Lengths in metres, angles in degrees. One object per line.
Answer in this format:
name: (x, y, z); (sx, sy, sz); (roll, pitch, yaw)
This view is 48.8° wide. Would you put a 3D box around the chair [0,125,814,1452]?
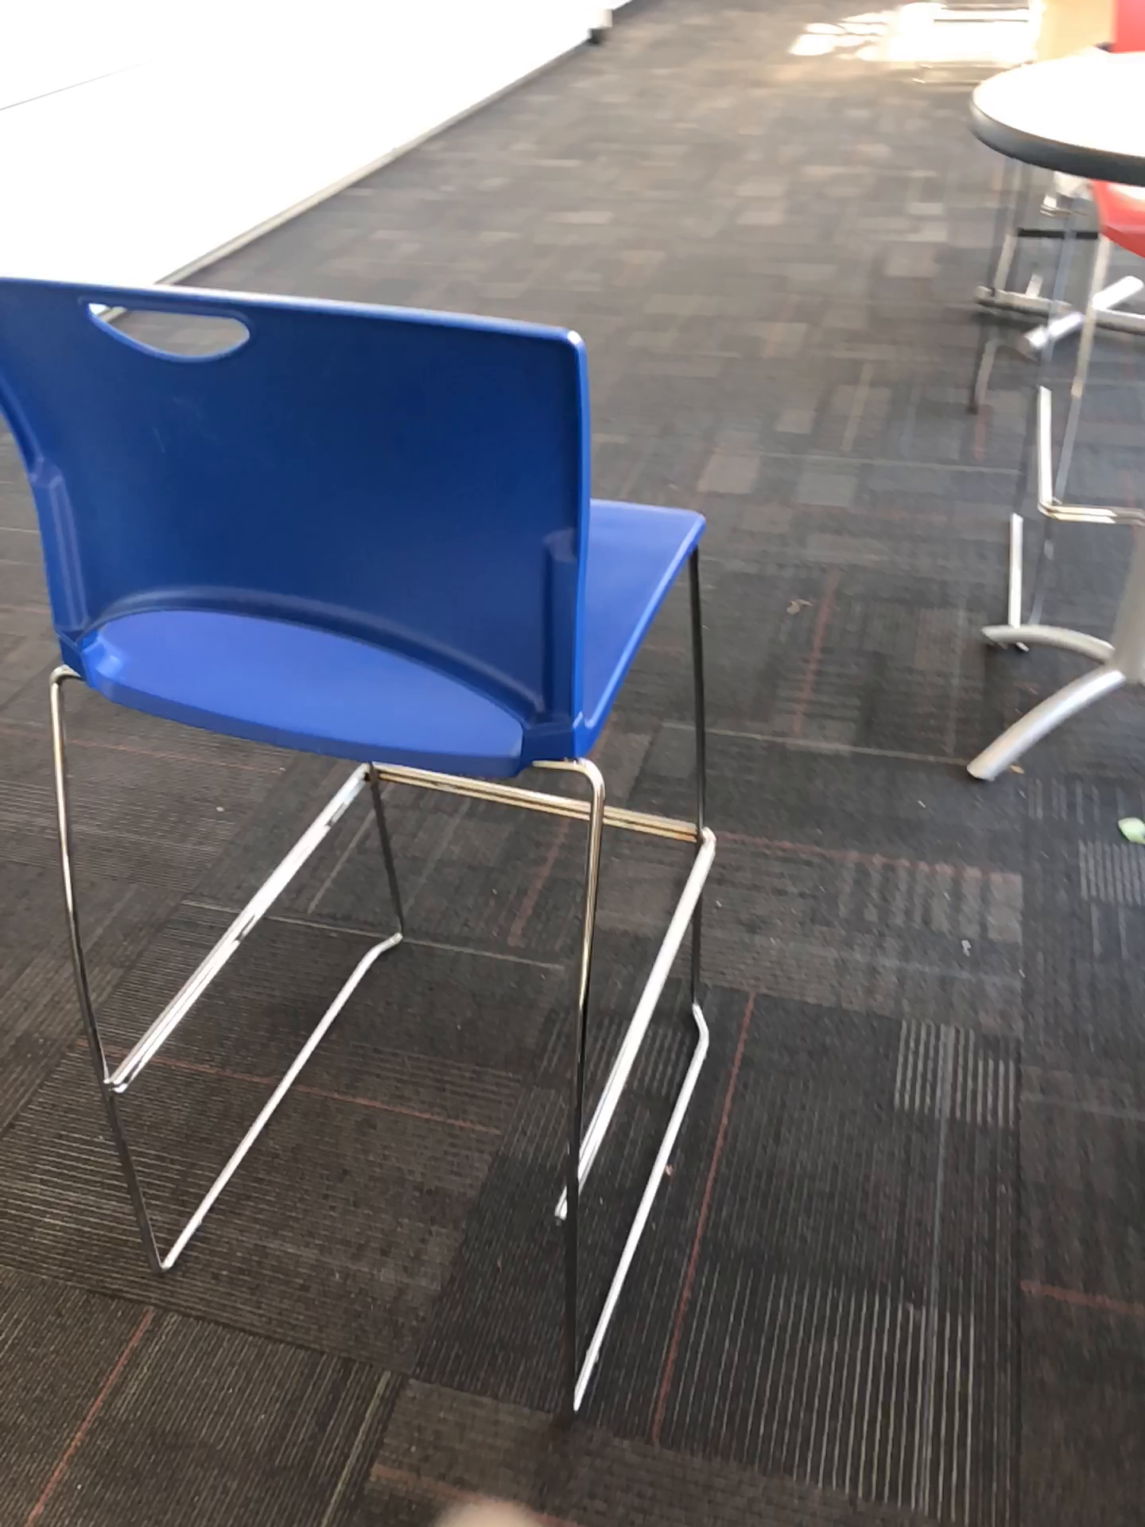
chair: (-0.151, 0.003, 1.170); (0.551, 0.965, 0.612); (11, 38, 20)
